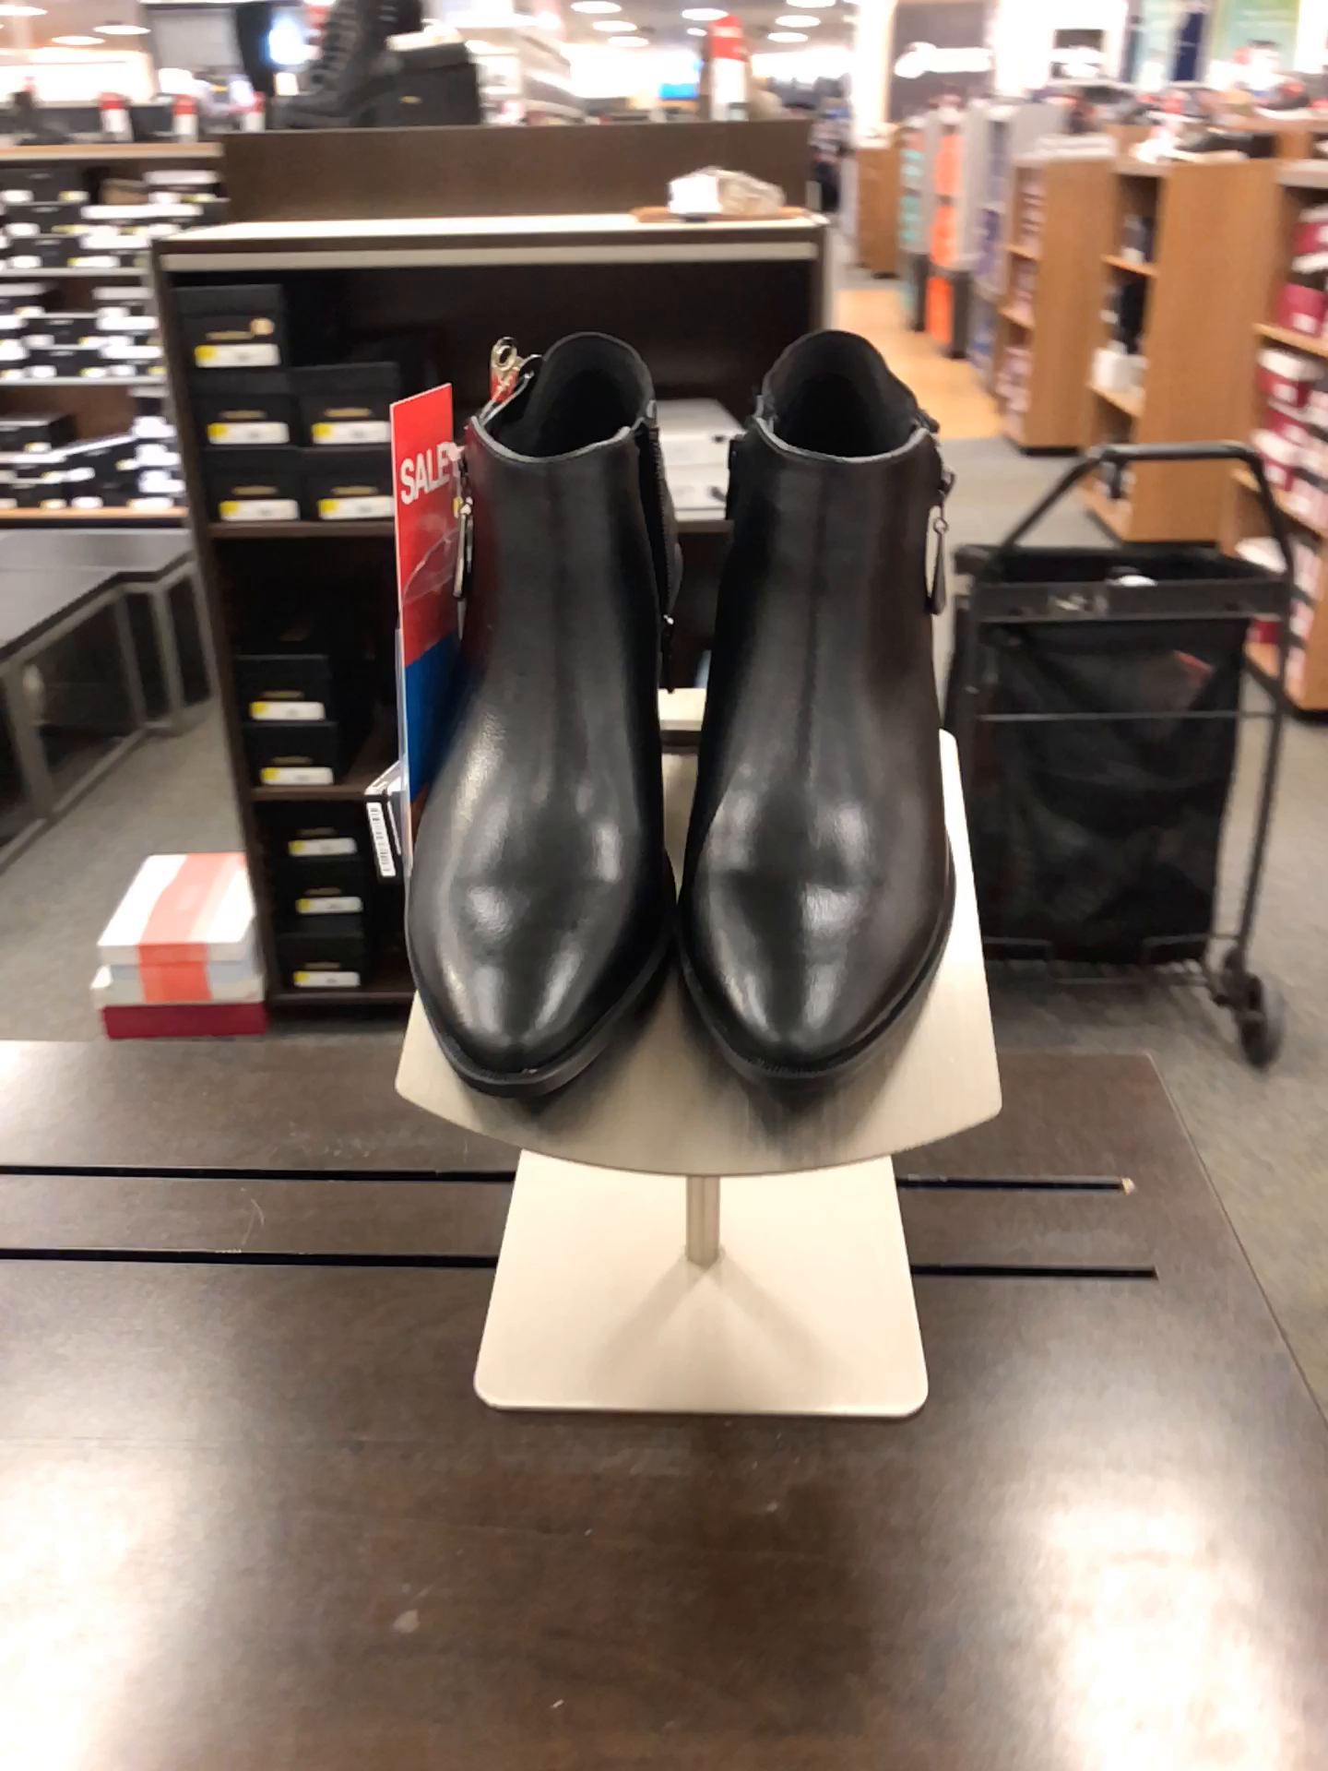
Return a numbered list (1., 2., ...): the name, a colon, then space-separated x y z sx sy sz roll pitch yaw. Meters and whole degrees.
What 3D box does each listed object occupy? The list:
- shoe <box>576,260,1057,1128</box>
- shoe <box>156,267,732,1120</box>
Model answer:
1. shoe: 0.052 -0.069 0.450 0.105 0.131 0.244 3 49 8
2. shoe: -0.045 -0.070 0.457 0.105 0.131 0.244 3 49 8
